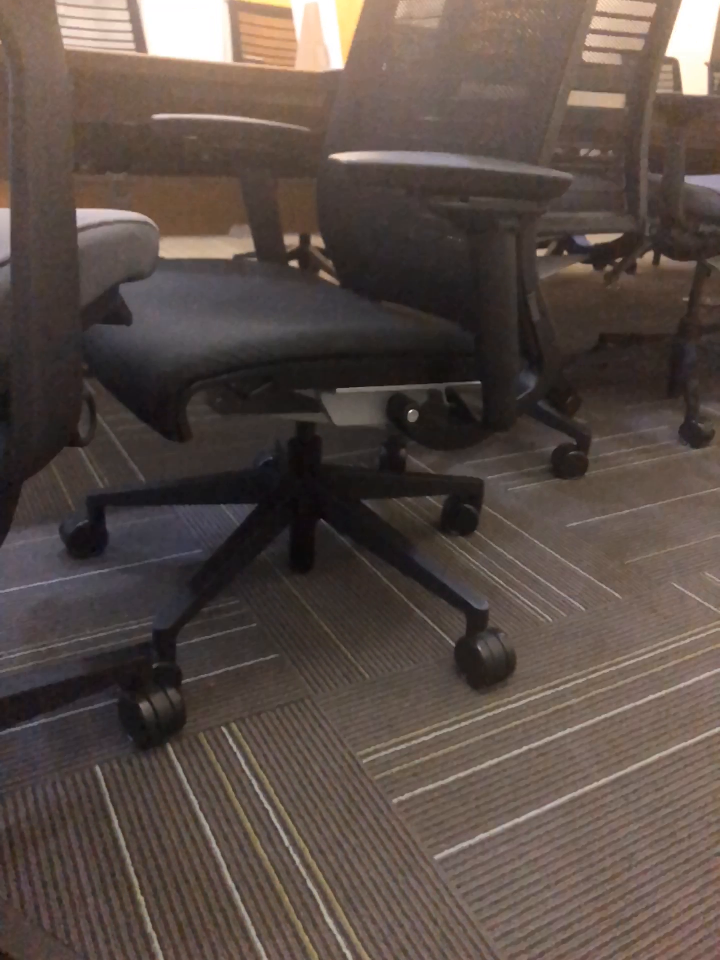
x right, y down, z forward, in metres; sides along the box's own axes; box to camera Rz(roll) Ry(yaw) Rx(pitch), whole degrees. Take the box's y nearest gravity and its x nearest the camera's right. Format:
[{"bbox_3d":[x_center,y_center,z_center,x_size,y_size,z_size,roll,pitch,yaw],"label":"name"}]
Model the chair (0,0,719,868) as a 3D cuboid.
[{"bbox_3d":[-0.093,-0.255,1.079,0.733,0.993,0.722,-10,25,-28],"label":"chair"}]
